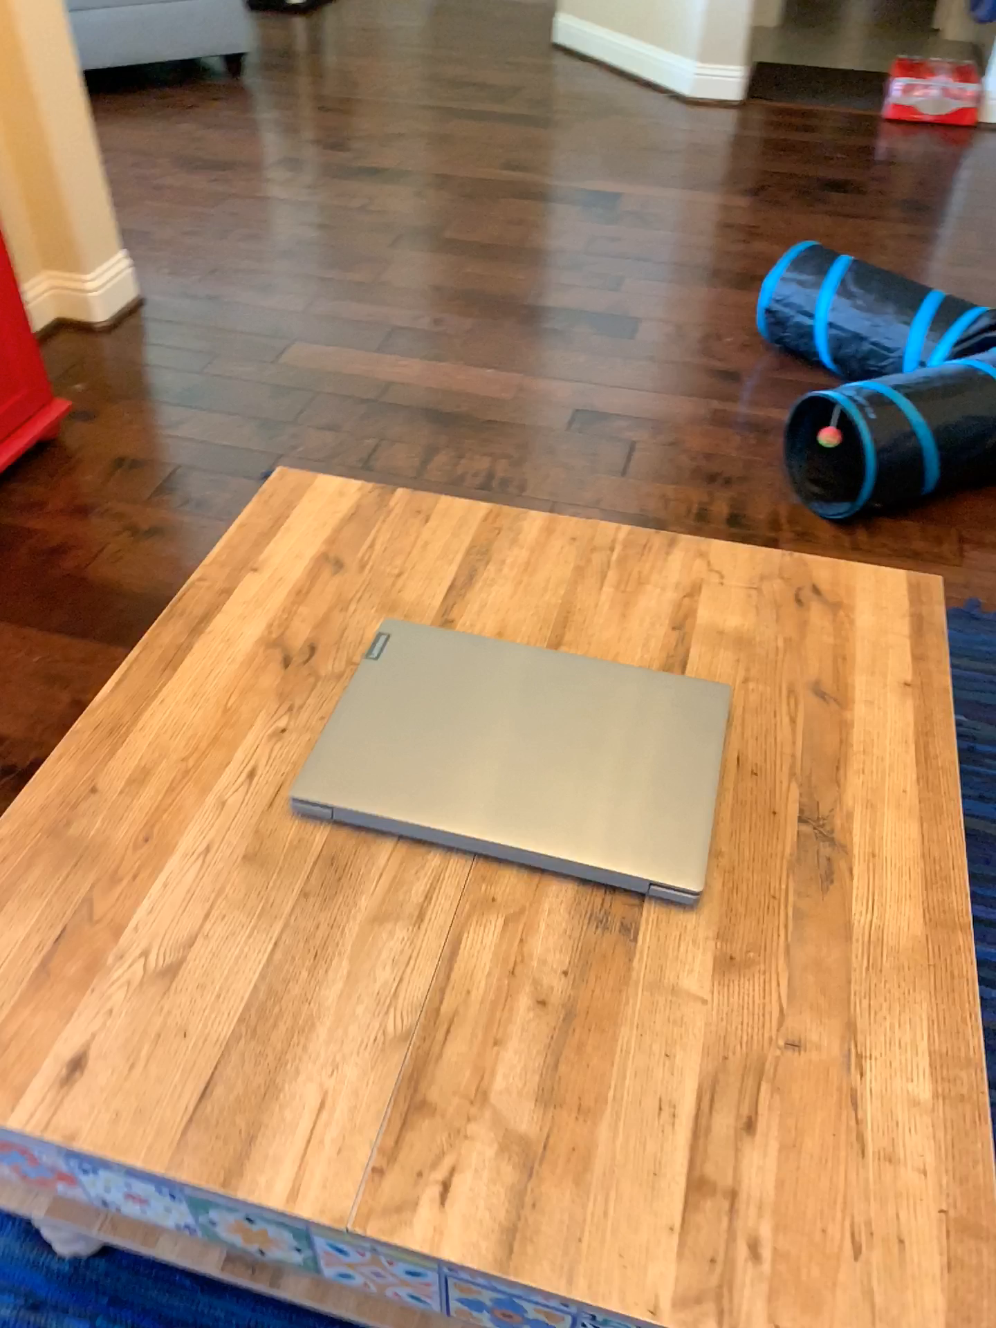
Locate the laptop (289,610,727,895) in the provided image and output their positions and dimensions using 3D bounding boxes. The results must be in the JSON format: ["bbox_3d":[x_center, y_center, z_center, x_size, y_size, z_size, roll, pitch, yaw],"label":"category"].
[{"bbox_3d":[0.020,0.065,0.923,0.347,0.011,0.238,12,46,10],"label":"laptop"}]
